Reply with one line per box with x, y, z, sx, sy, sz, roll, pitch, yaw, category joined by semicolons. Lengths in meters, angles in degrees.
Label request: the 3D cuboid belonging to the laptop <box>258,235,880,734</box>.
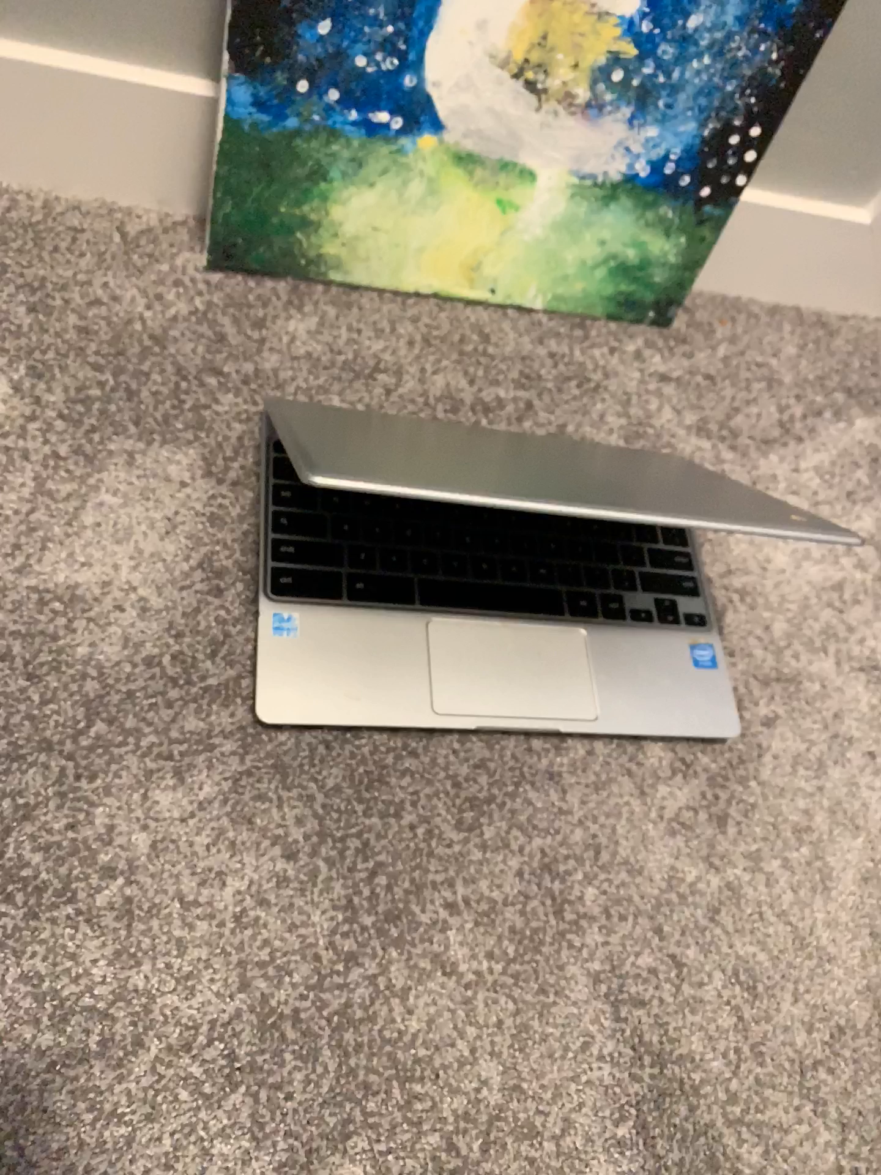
0.059;-0.040;0.507;0.295;0.144;0.200;4;62;-18;laptop
